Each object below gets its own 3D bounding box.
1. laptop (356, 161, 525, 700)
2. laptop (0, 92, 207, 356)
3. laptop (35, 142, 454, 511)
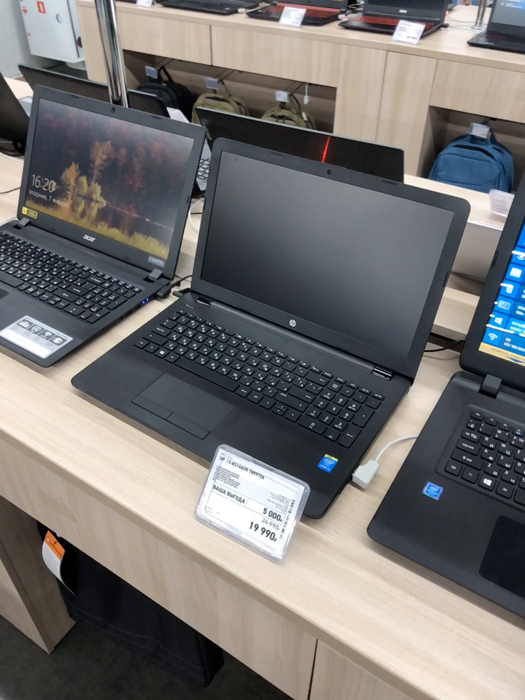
[{"bbox_3d":[0.379,0.044,0.553,0.397,0.267,0.396,23,44,27],"label":"laptop"},{"bbox_3d":[-0.361,-0.226,0.925,0.359,0.226,0.351,23,44,24],"label":"laptop"},{"bbox_3d":[-0.012,-0.070,0.741,0.377,0.215,0.335,22,45,25],"label":"laptop"}]
